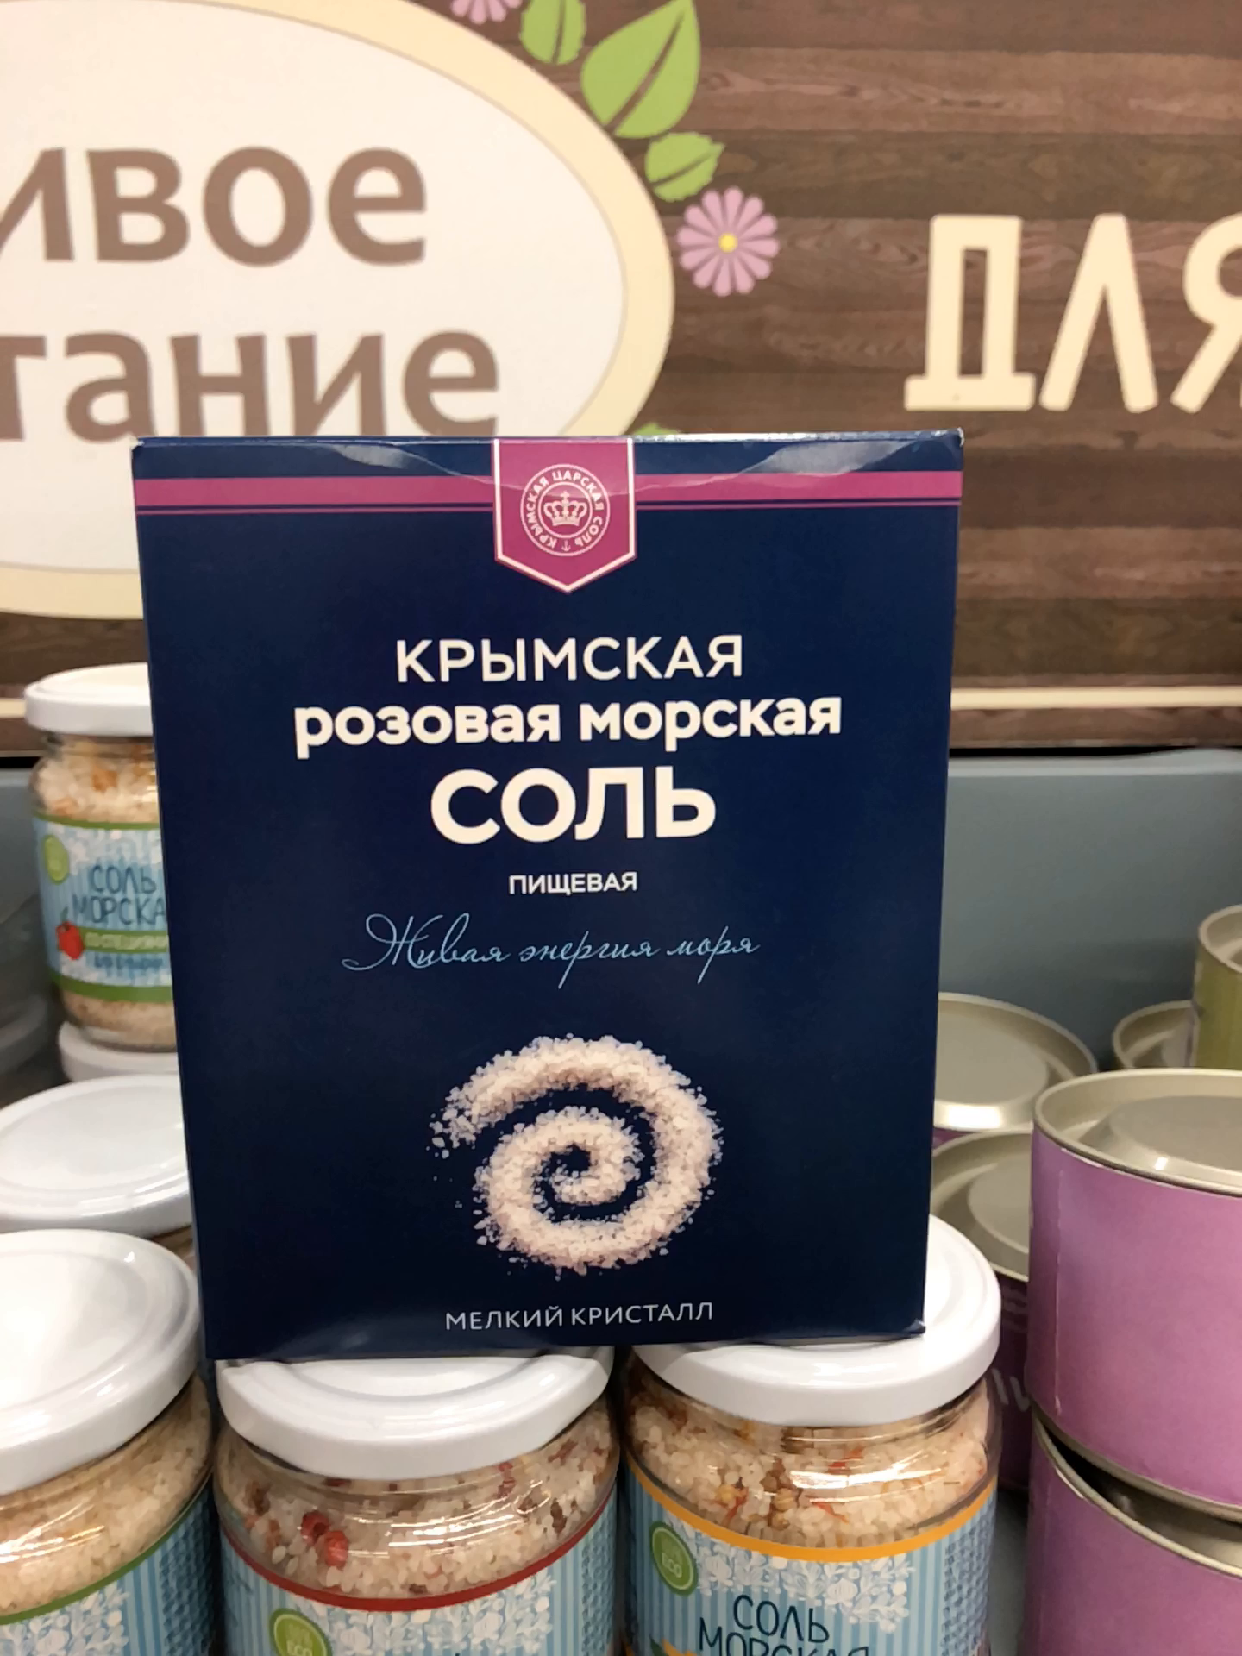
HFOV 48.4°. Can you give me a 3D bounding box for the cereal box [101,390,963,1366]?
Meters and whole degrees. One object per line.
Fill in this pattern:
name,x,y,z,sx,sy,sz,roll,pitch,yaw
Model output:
cereal box,-0.012,0.007,0.228,0.120,0.149,0.040,-1,12,-3
